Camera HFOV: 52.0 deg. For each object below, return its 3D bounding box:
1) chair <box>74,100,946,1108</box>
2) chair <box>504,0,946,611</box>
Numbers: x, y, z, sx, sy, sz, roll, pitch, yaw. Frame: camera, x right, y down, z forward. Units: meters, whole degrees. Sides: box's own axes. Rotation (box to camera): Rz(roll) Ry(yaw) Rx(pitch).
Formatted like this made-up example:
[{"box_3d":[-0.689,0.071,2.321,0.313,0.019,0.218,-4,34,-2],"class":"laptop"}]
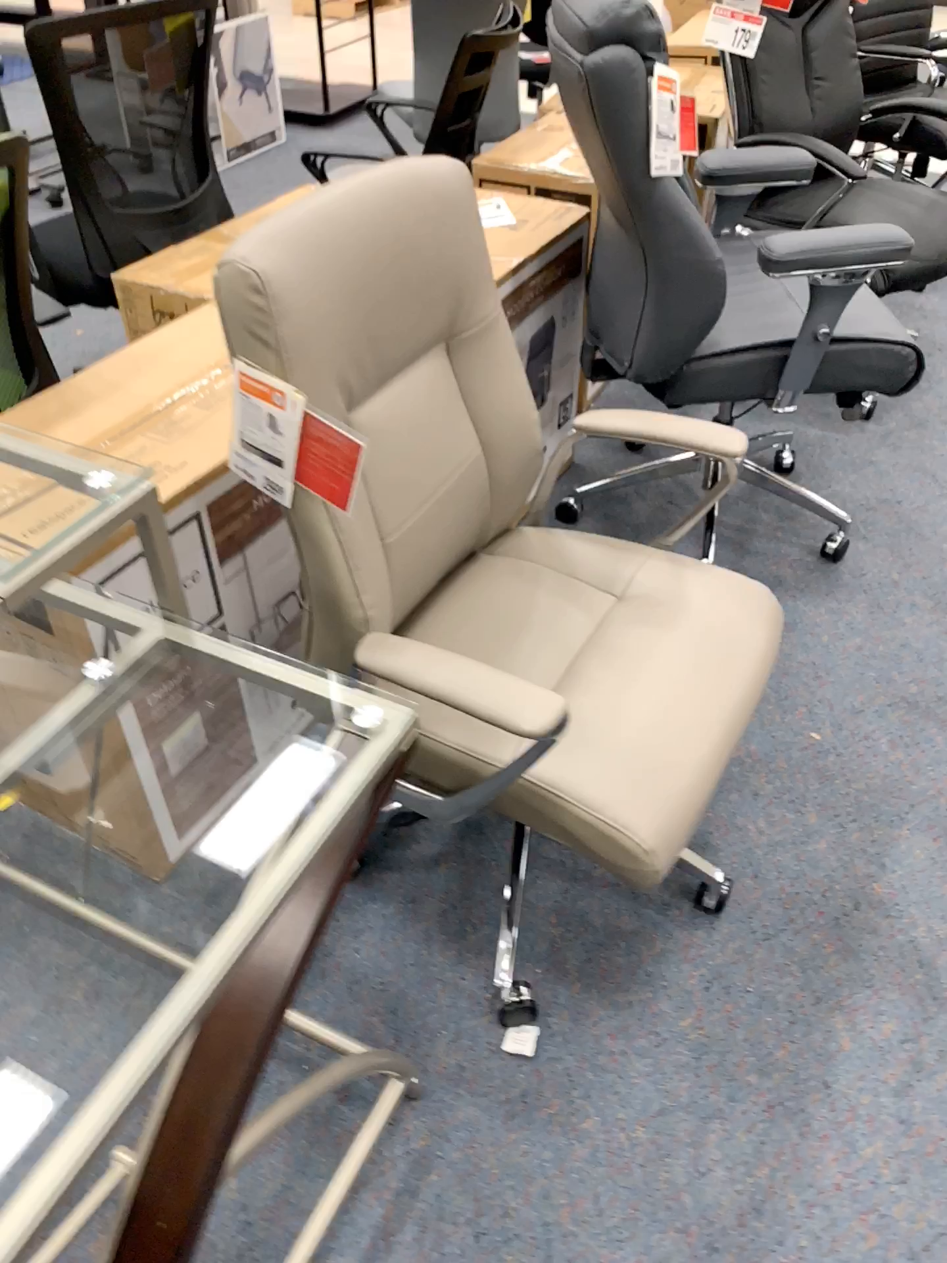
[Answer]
[{"box_3d":[0.103,-0.056,1.289,0.675,0.956,0.694,21,46,22],"class":"chair"},{"box_3d":[0.508,-0.718,2.014,0.814,1.055,0.815,-1,41,-2],"class":"chair"}]
